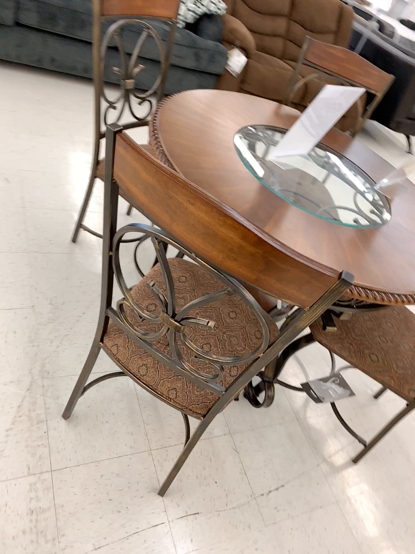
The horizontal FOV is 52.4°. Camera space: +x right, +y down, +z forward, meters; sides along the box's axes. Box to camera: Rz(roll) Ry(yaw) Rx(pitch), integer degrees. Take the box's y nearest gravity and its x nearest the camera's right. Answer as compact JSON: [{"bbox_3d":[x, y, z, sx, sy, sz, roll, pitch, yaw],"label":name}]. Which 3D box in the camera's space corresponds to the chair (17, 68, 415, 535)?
[{"bbox_3d":[-0.042,0.087,1.108,0.520,0.975,0.583,36,40,11],"label":"chair"}]
